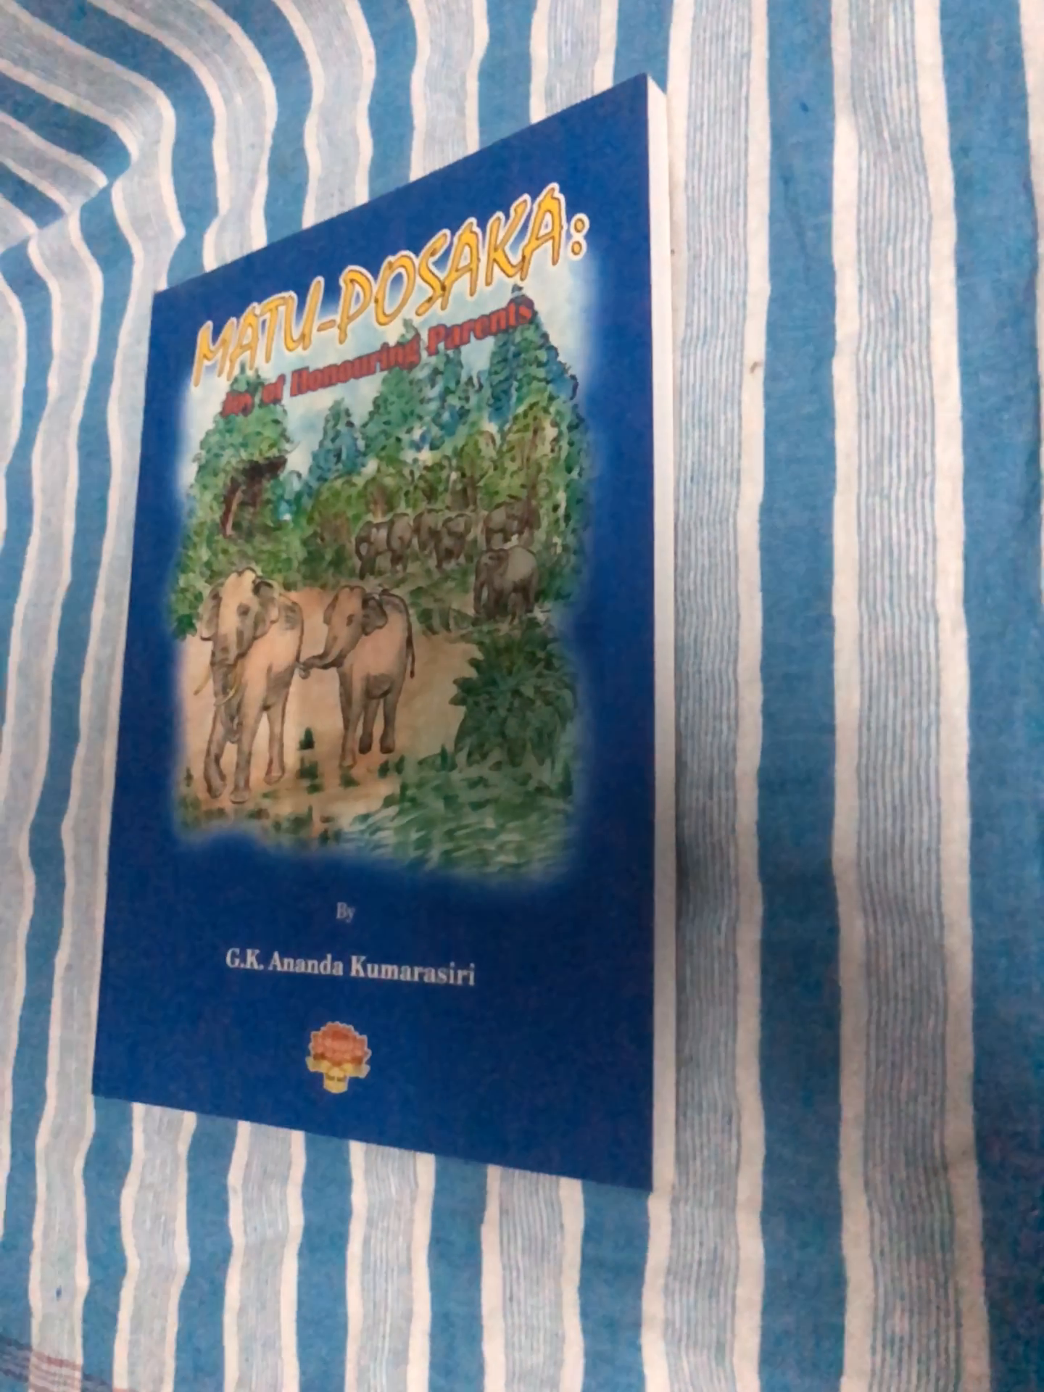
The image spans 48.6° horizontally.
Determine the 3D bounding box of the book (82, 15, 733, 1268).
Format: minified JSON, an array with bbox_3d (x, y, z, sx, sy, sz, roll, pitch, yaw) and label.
[{"bbox_3d":[-0.034,-0.012,0.267,0.170,0.020,0.230,-5,79,36],"label":"book"}]
